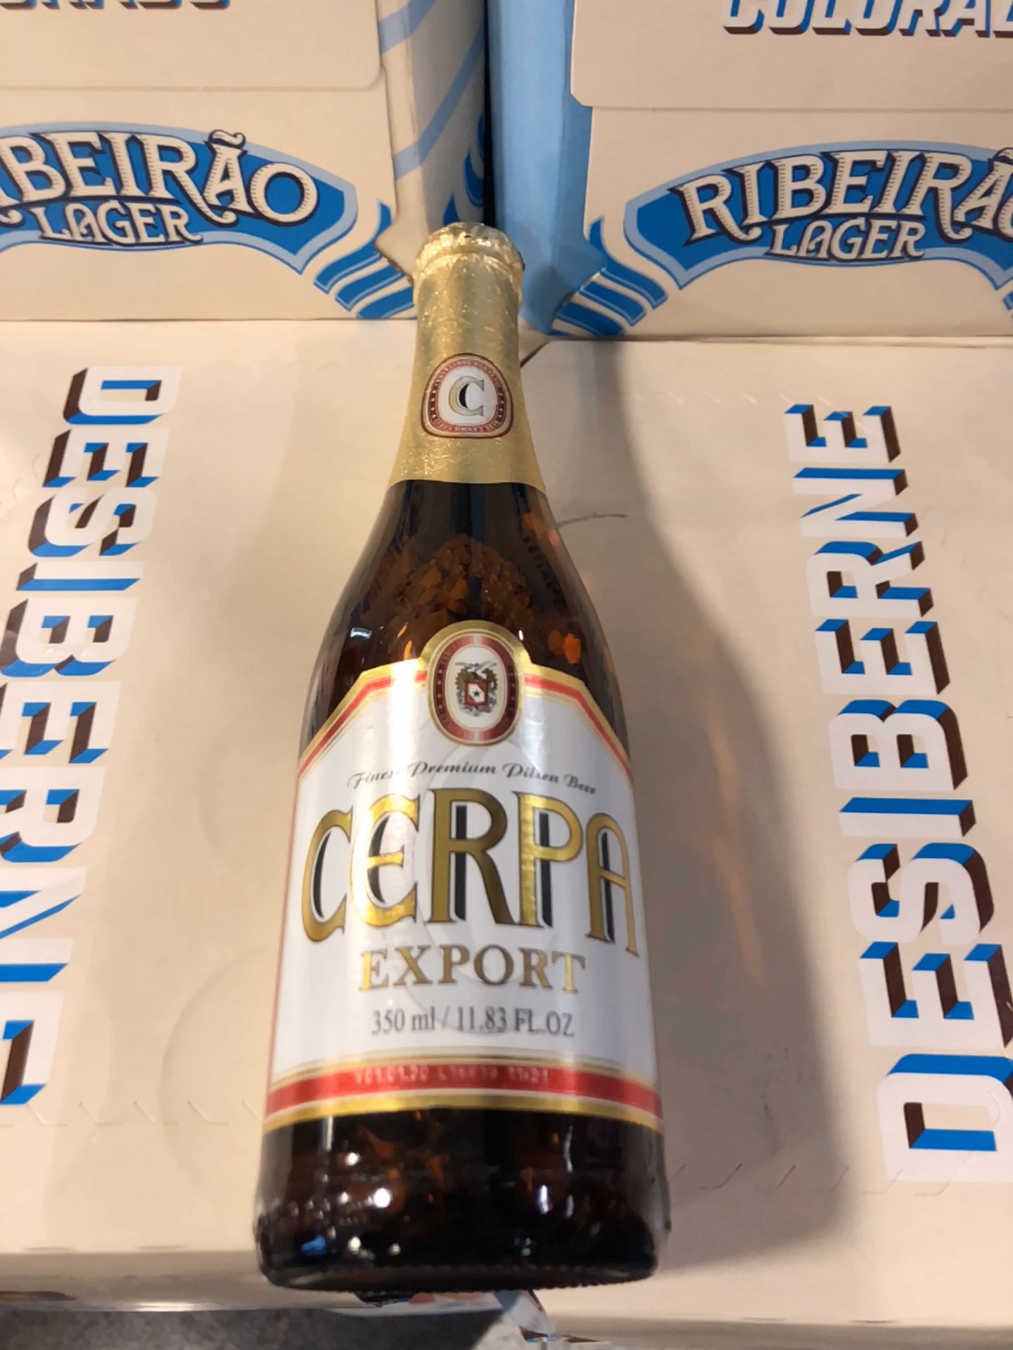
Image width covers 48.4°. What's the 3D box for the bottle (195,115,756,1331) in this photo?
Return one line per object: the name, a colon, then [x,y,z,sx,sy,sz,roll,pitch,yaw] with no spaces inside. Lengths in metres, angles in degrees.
bottle: [-0.001,-0.009,0.226,0.070,0.060,0.241,1,60,0]
